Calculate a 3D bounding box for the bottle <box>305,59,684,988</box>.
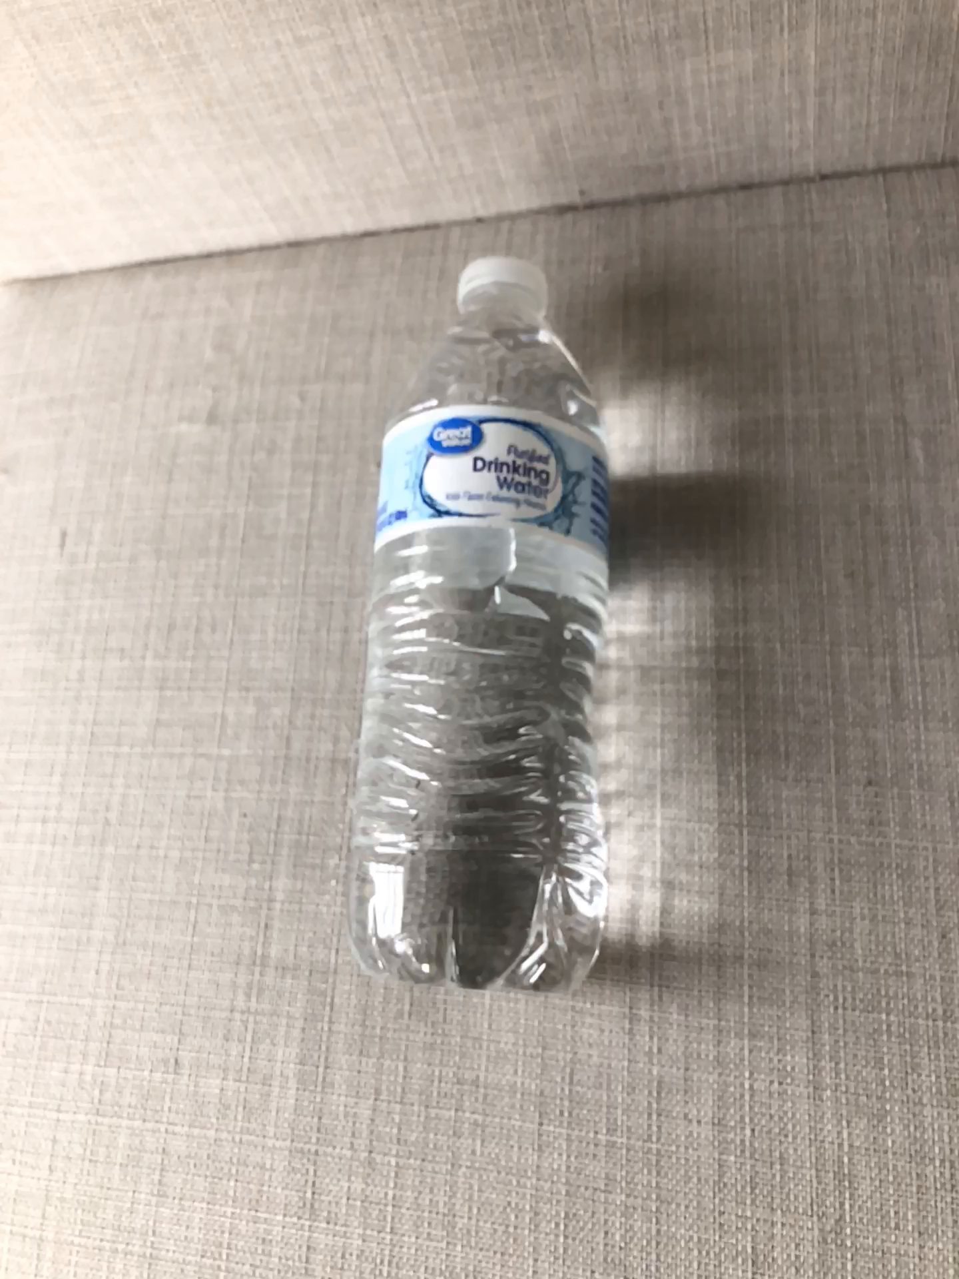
[{"bbox_3d":[0.003,-0.028,0.295,0.070,0.080,0.231,7,72,-16],"label":"bottle"}]
